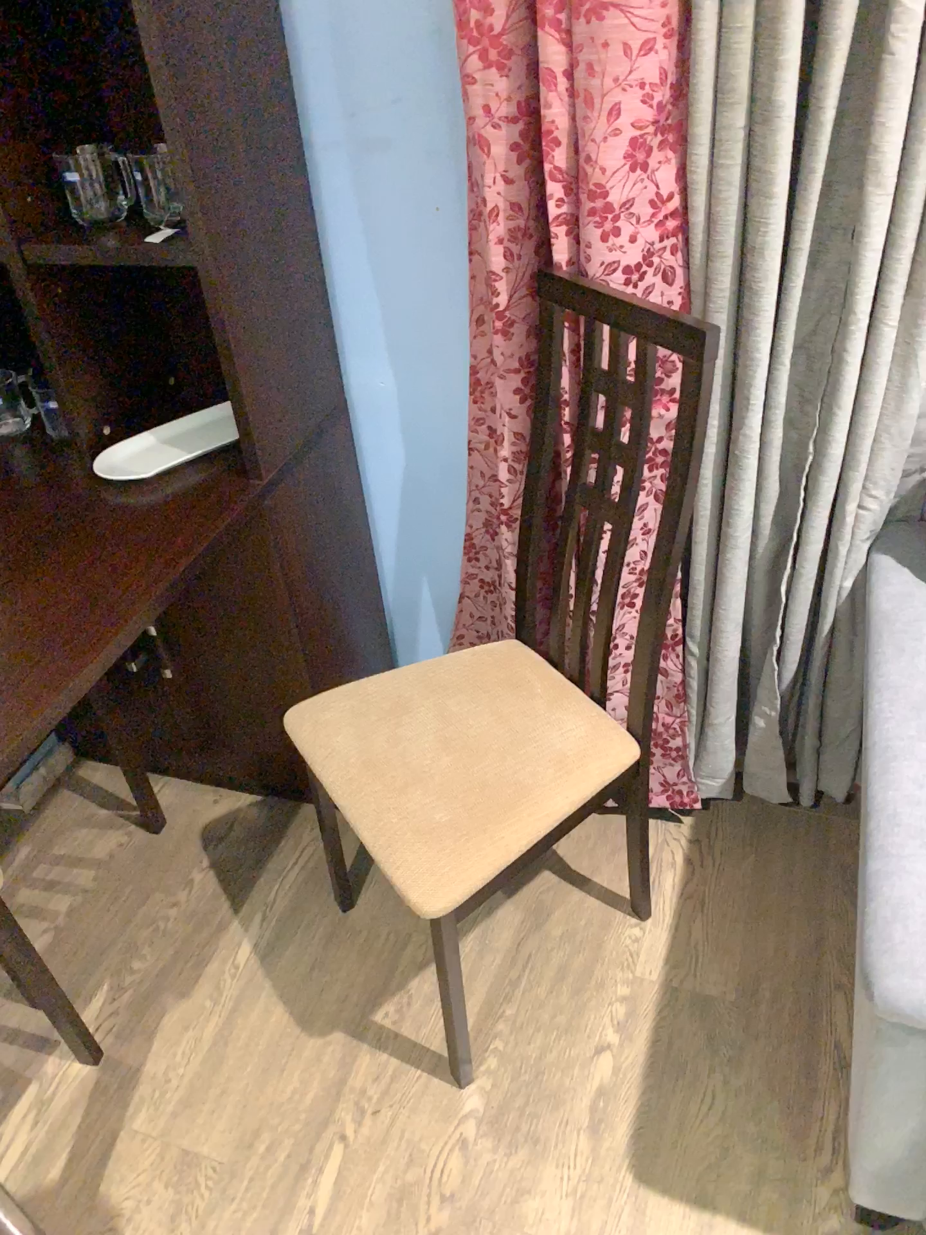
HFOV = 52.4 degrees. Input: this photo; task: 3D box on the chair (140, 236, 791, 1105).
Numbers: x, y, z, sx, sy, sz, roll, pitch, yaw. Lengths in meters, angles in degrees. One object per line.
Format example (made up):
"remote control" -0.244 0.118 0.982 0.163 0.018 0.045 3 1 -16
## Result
"chair" 0.017 0.076 1.327 0.510 0.976 0.532 -25 41 -24
